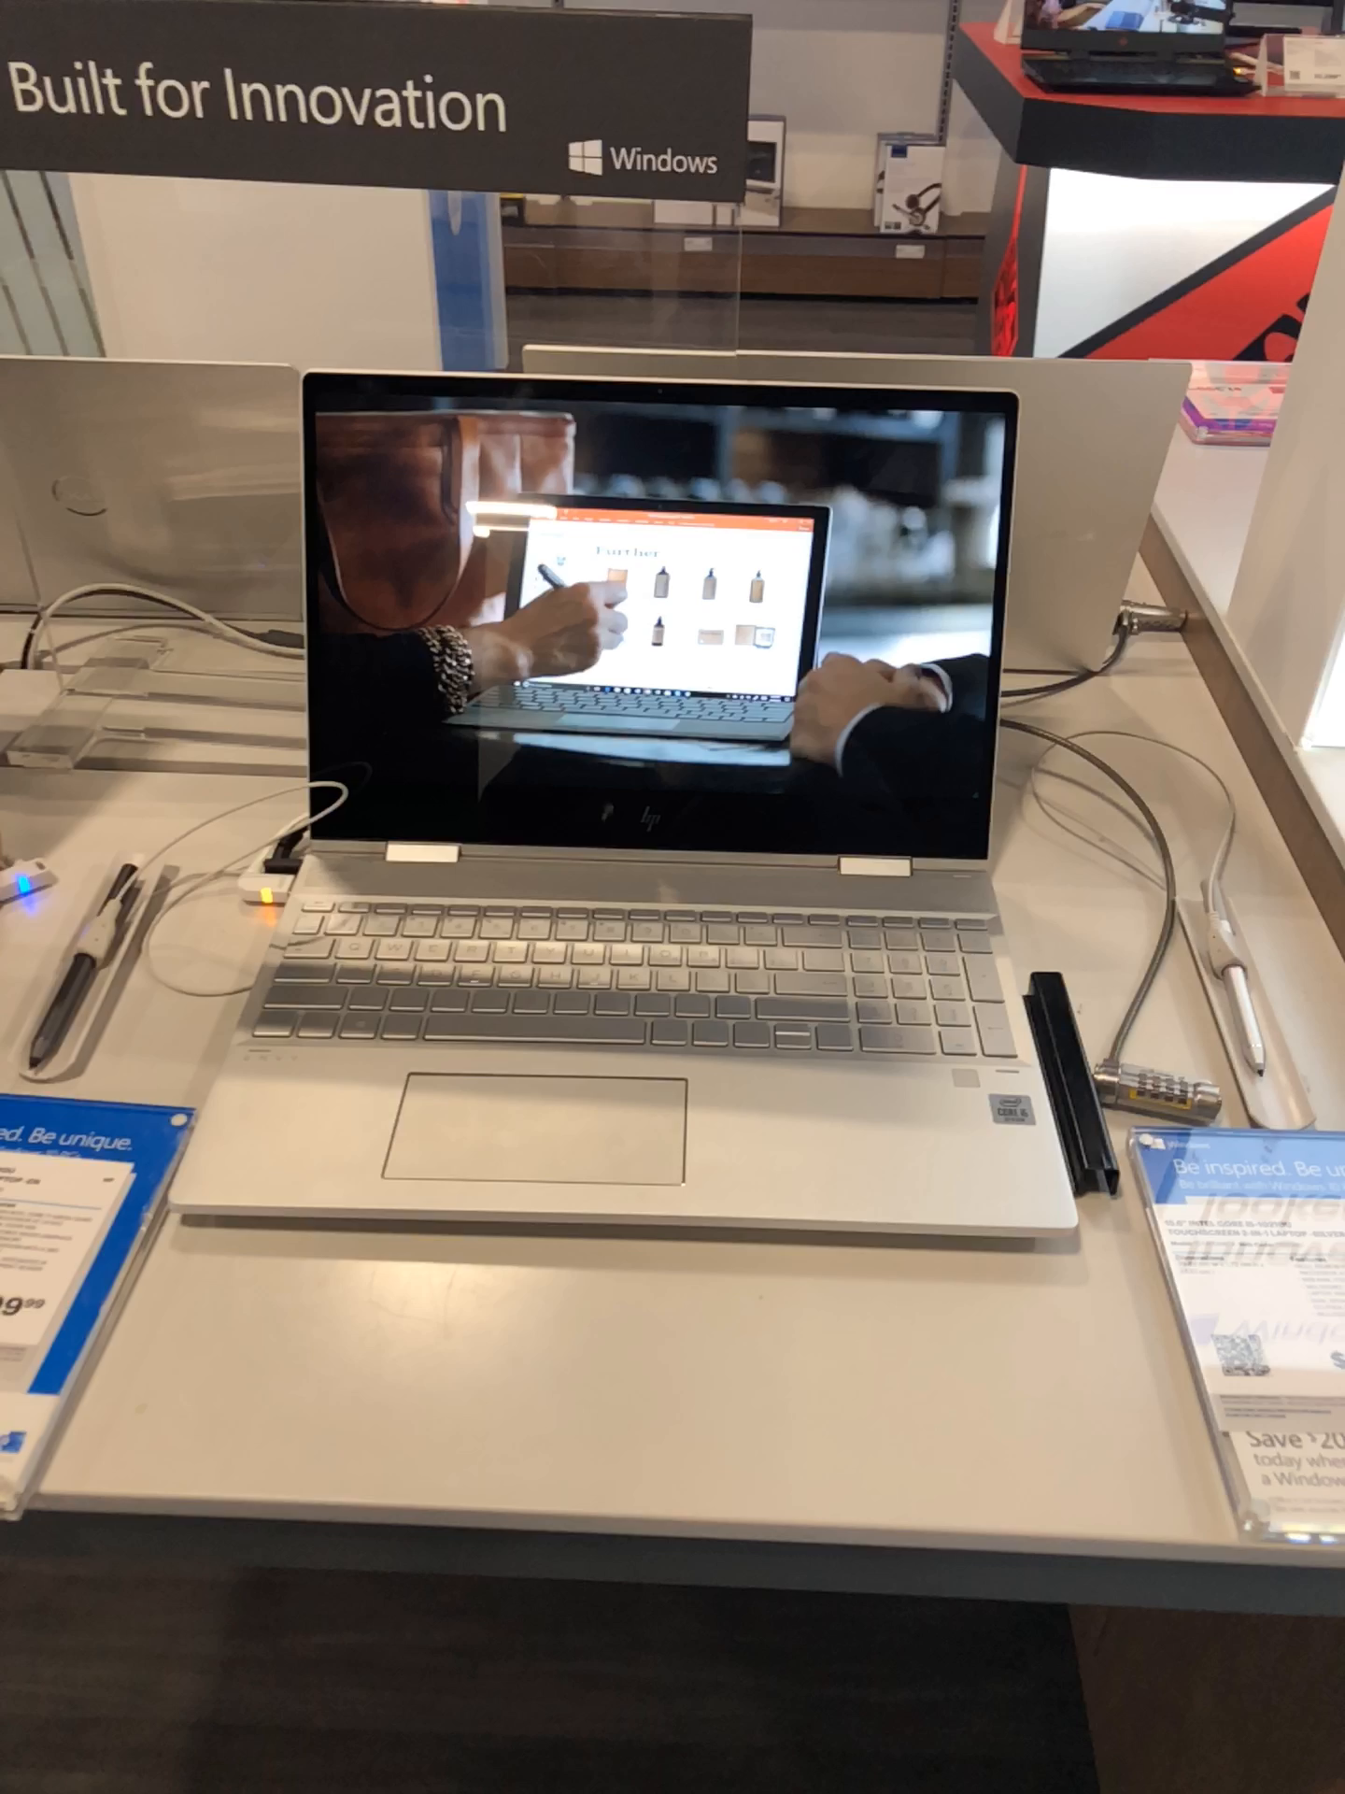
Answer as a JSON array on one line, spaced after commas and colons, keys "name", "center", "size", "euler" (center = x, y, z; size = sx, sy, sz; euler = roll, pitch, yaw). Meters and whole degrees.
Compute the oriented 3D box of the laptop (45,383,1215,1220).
[{"name": "laptop", "center": [-0.009, -0.066, 0.657], "size": [0.358, 0.210, 0.355], "euler": [1, 36, 1]}]
